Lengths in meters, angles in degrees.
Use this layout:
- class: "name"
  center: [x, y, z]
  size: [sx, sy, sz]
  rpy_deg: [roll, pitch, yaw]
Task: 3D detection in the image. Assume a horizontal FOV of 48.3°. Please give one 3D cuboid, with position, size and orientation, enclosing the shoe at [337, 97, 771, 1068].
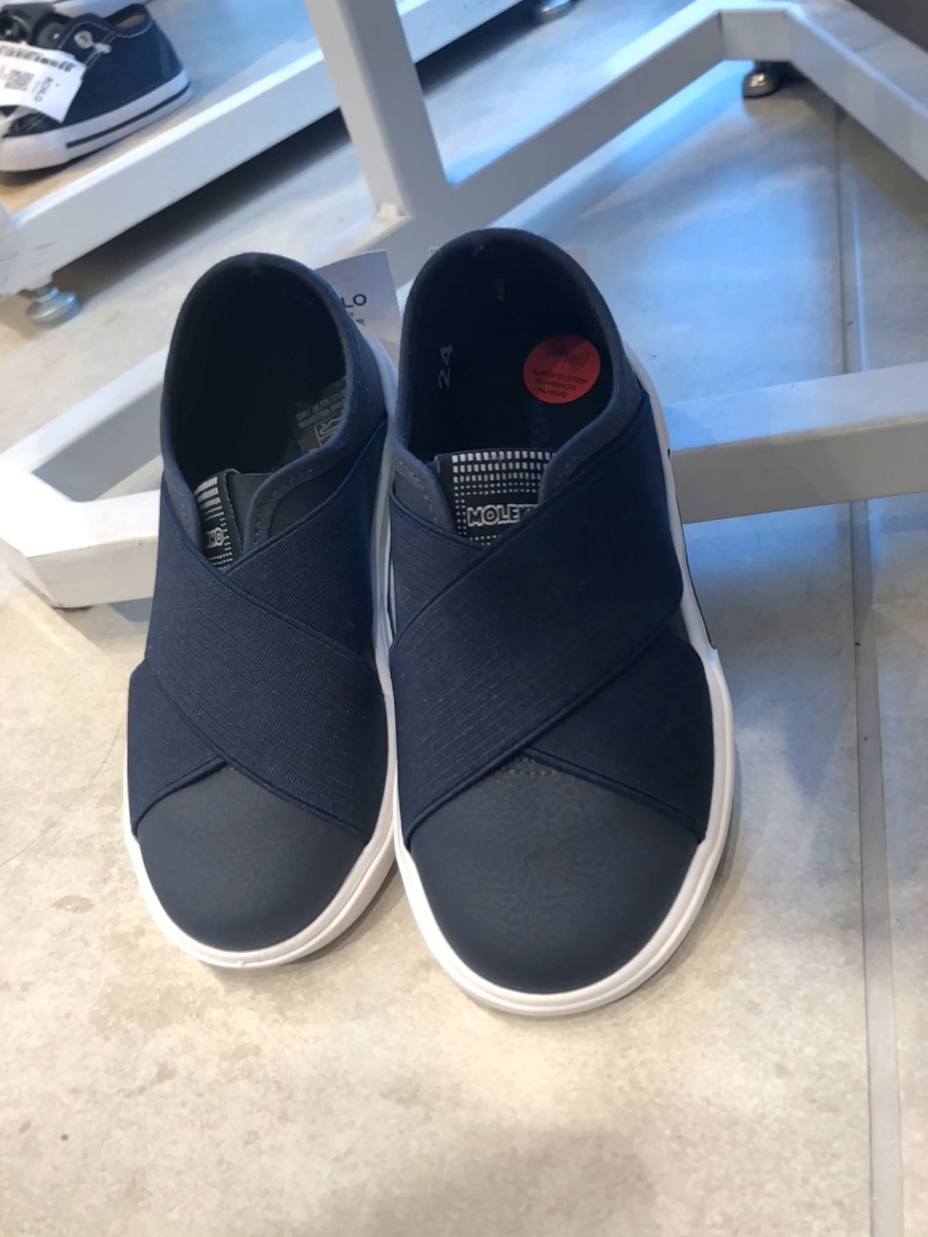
- class: "shoe"
  center: [0.019, -0.006, 0.226]
  size: [0.070, 0.070, 0.181]
  rpy_deg: [-7, 74, 16]

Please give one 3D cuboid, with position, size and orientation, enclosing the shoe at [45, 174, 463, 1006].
- class: "shoe"
  center: [-0.043, -0.005, 0.257]
  size: [0.070, 0.070, 0.181]
  rpy_deg: [-3, 76, 12]
